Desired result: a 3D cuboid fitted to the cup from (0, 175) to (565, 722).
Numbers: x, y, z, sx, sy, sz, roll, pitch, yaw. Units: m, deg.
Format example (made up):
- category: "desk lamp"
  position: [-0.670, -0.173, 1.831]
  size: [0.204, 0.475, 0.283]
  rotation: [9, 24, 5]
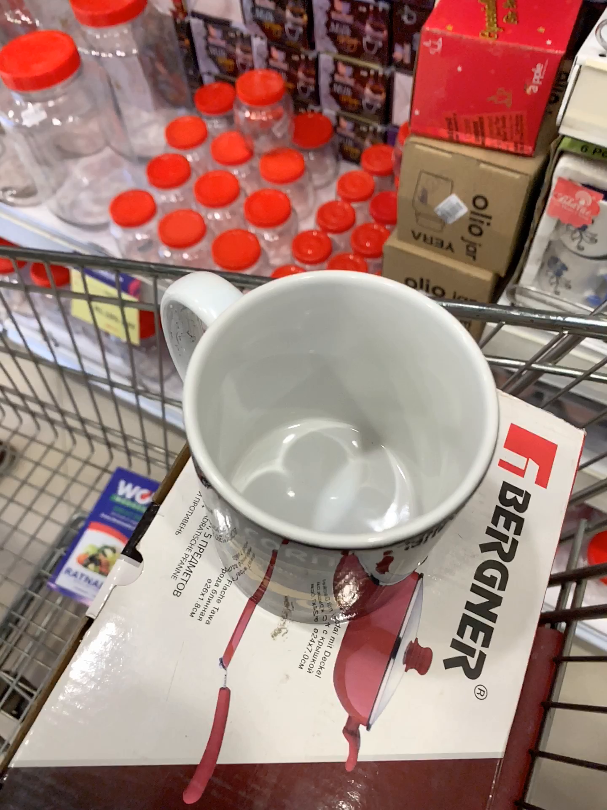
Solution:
- category: "cup"
  position: [-0.012, 0.016, 0.187]
  size: [0.120, 0.090, 0.080]
  rotation: [35, 67, 16]
